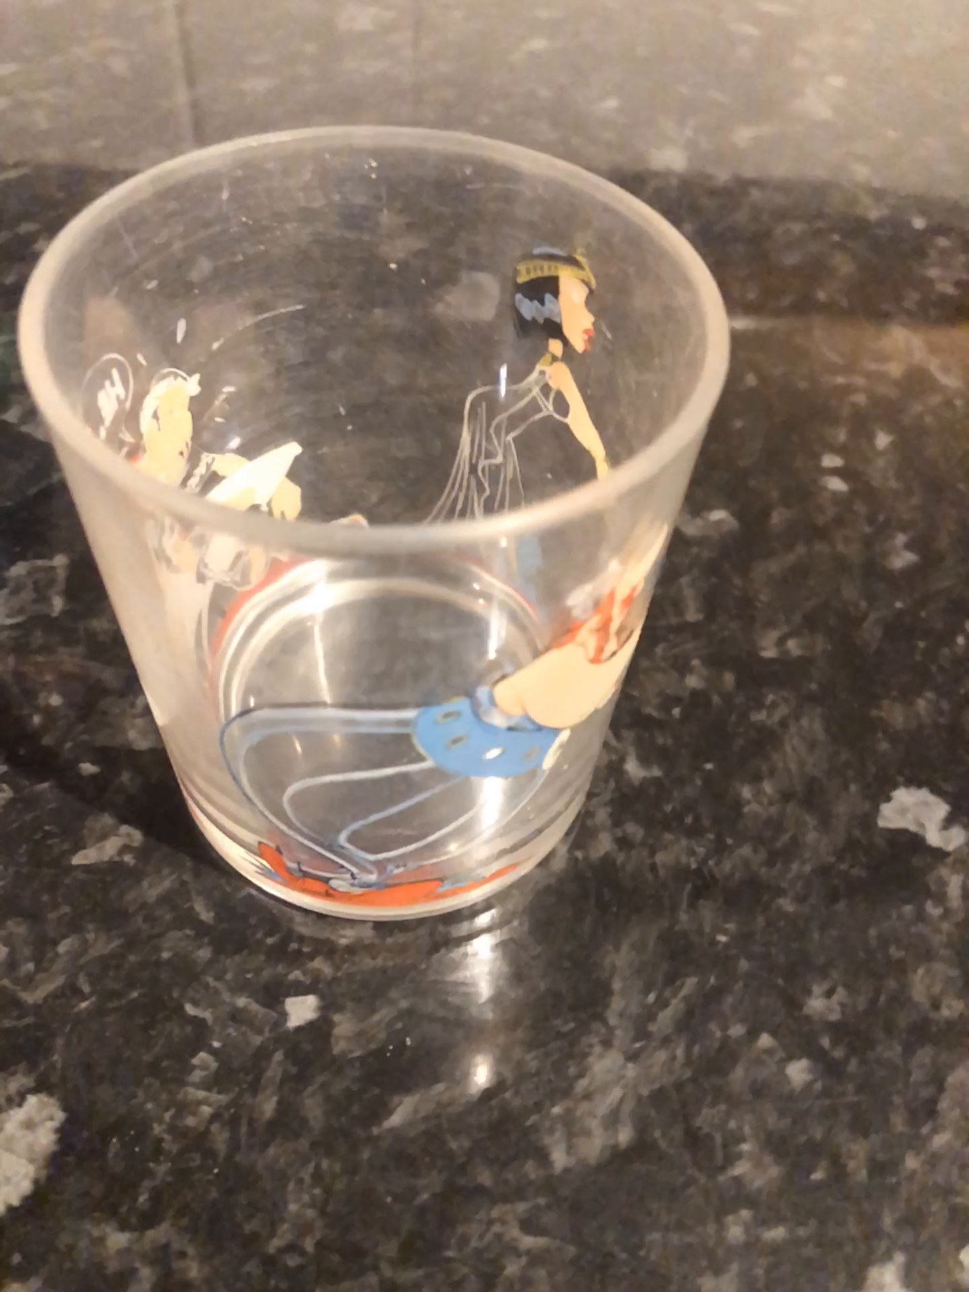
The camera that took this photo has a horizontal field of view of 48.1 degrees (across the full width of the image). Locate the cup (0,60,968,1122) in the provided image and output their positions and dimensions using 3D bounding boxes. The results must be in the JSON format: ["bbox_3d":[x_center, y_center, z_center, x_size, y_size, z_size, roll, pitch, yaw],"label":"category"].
[{"bbox_3d":[-0.010,-0.010,0.140,0.080,0.080,0.080,2,50,-3],"label":"cup"}]
